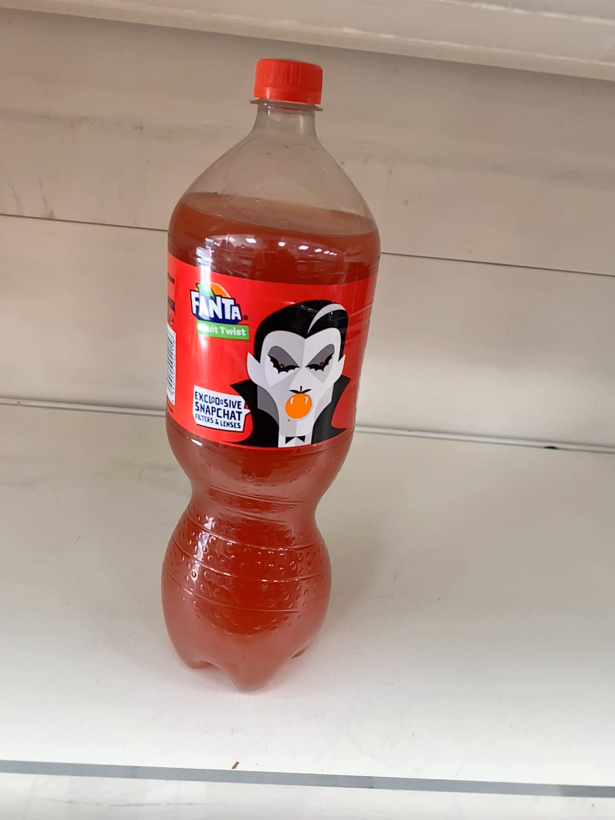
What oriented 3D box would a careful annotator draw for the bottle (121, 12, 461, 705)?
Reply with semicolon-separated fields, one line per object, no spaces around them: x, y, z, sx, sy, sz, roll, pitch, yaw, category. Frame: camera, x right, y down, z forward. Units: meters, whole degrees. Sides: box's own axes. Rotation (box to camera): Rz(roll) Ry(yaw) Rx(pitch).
-0.029;-0.008;0.339;0.120;0.327;0.111;5;26;-3;bottle
